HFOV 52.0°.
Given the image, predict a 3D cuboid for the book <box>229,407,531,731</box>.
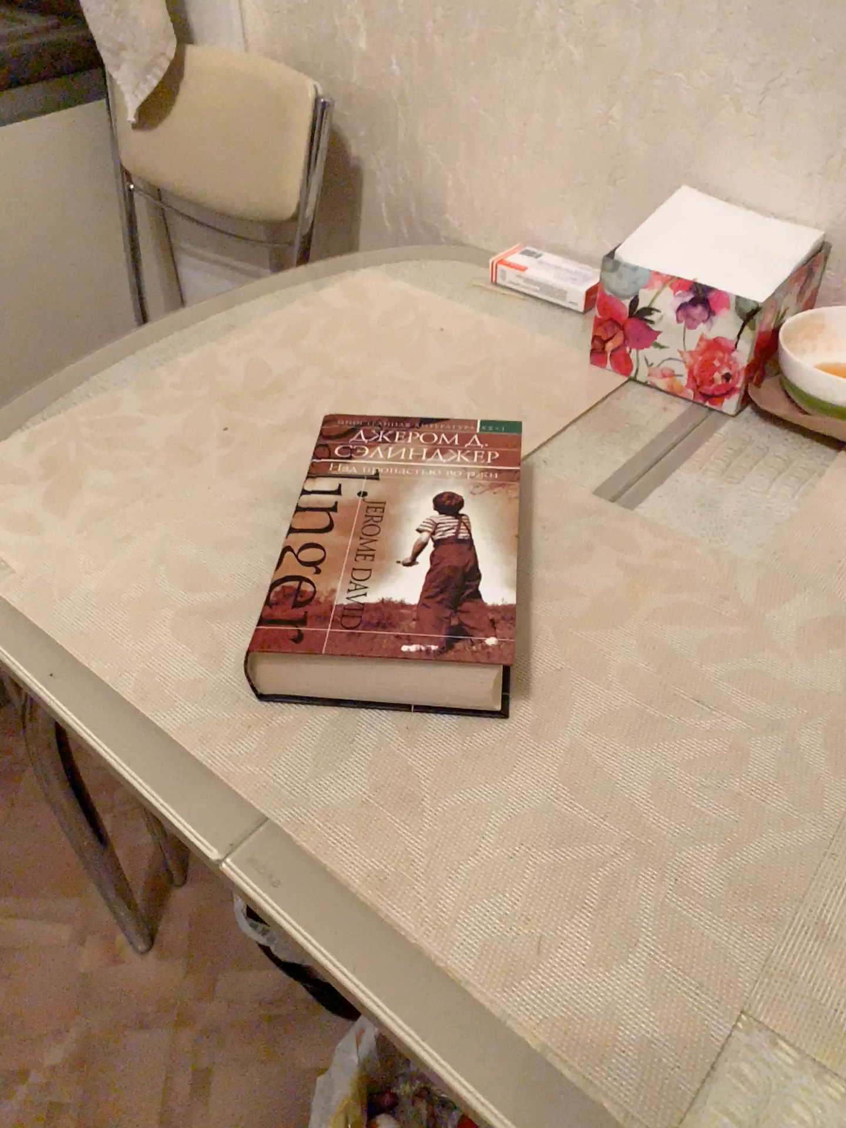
[{"bbox_3d":[-0.012,-0.010,0.531,0.150,0.049,0.222,3,44,6],"label":"book"}]
